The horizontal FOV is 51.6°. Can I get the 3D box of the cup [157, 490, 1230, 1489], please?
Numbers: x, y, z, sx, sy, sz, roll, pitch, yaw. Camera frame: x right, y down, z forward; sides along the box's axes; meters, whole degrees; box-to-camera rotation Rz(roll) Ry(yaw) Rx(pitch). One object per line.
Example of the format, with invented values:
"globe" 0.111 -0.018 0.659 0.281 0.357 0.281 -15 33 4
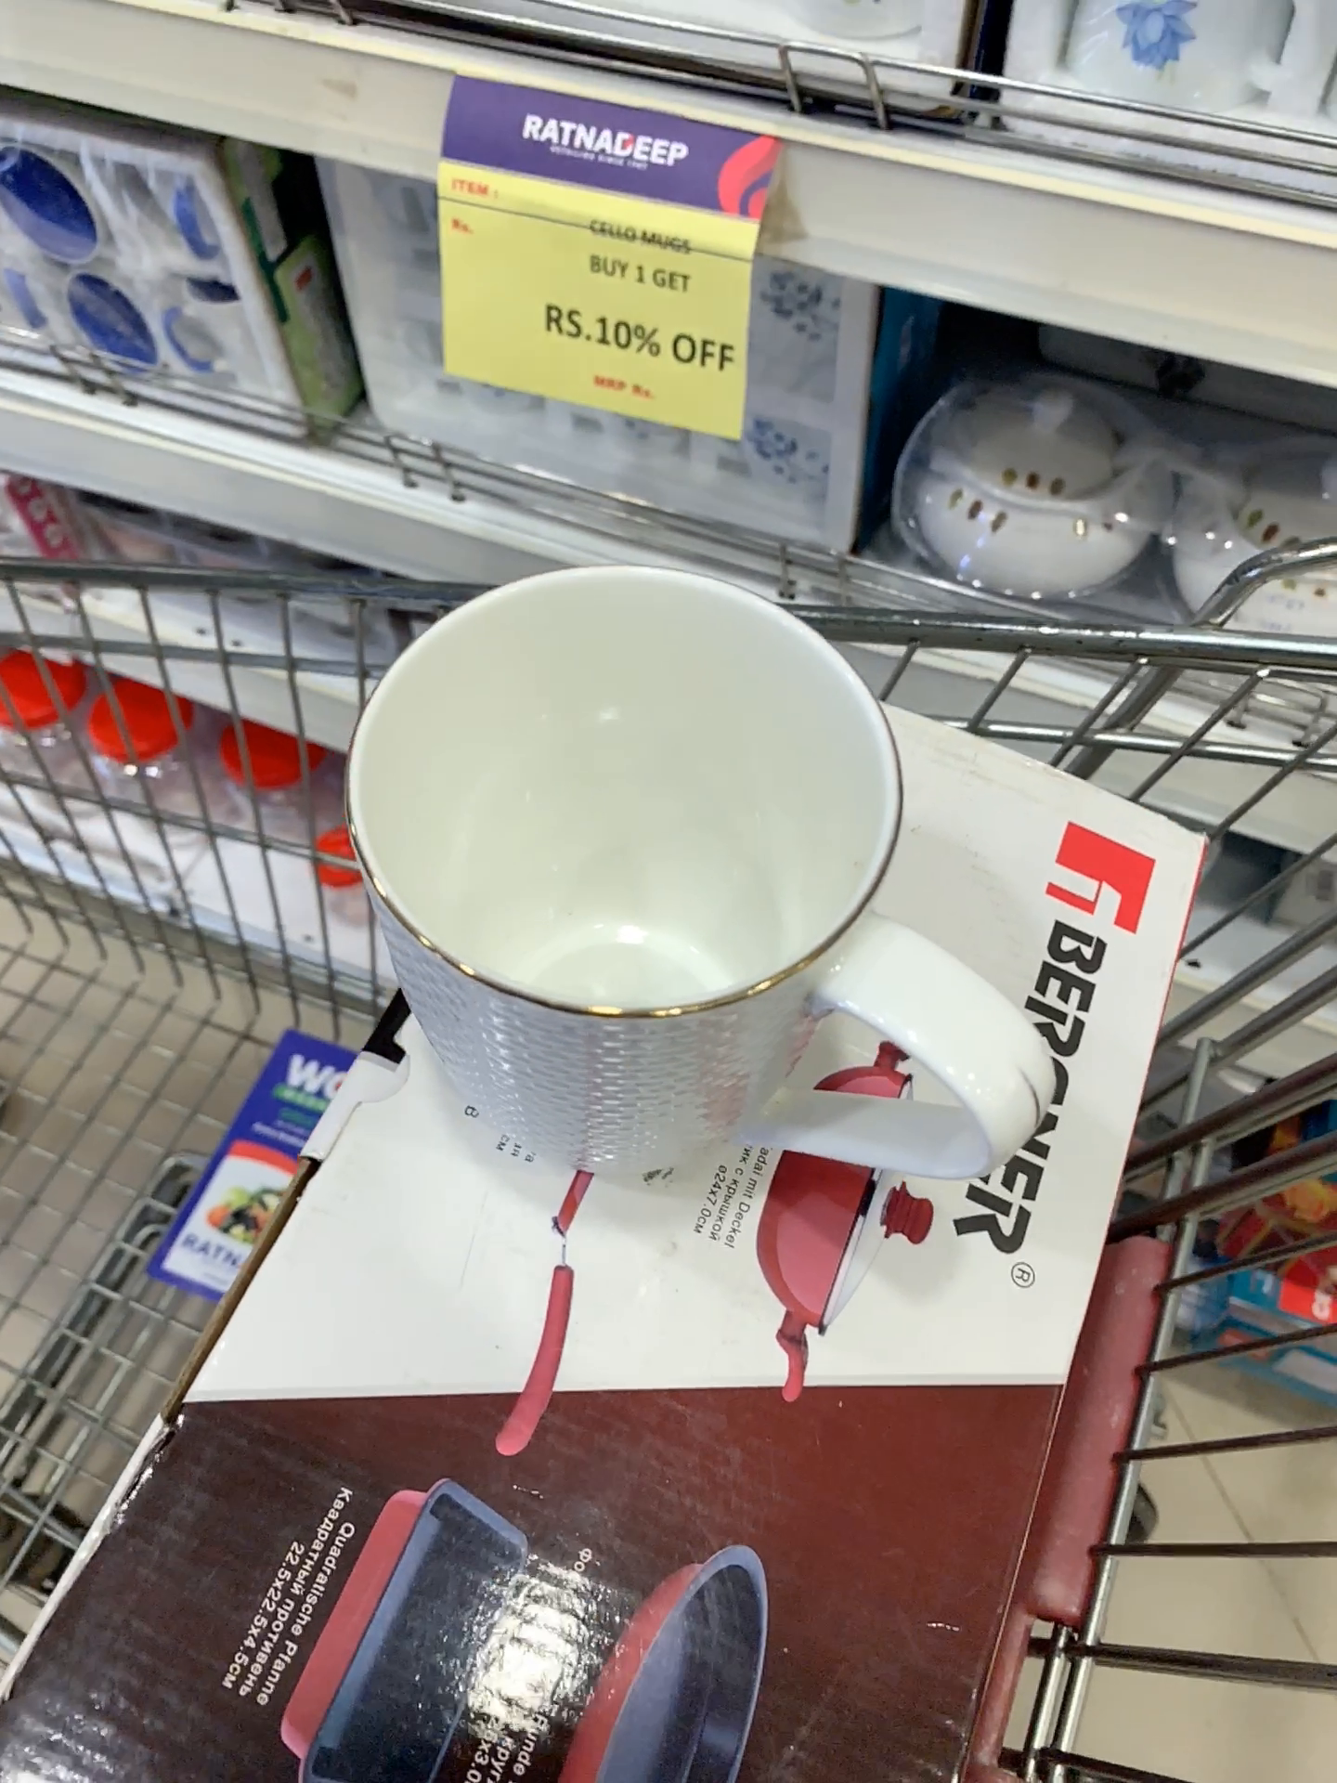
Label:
"cup" 0.004 0.015 0.227 0.120 0.080 0.090 31 64 18
